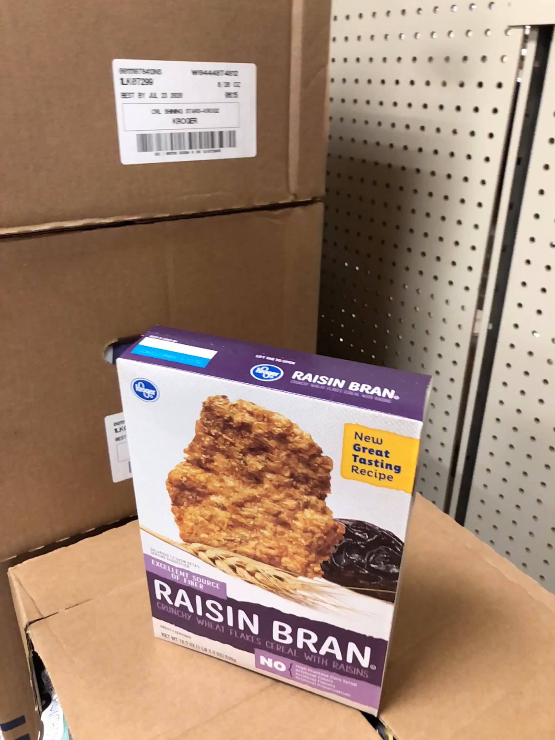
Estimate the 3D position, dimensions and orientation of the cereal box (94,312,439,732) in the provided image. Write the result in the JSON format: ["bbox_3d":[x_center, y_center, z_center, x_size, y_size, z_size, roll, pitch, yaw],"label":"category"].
[{"bbox_3d":[-0.005,0.110,0.419,0.190,0.279,0.050,10,33,20],"label":"cereal box"}]
